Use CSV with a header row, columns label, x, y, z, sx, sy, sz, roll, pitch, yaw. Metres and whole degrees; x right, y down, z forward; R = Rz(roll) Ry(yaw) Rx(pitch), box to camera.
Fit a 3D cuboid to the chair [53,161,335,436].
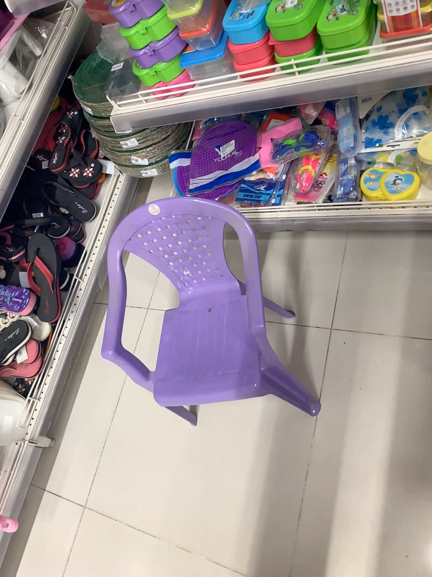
label,x,y,z,sx,sy,sz,roll,pitch,yaw
chair,-0.021,0.073,0.984,0.421,0.428,0.400,-14,61,22
